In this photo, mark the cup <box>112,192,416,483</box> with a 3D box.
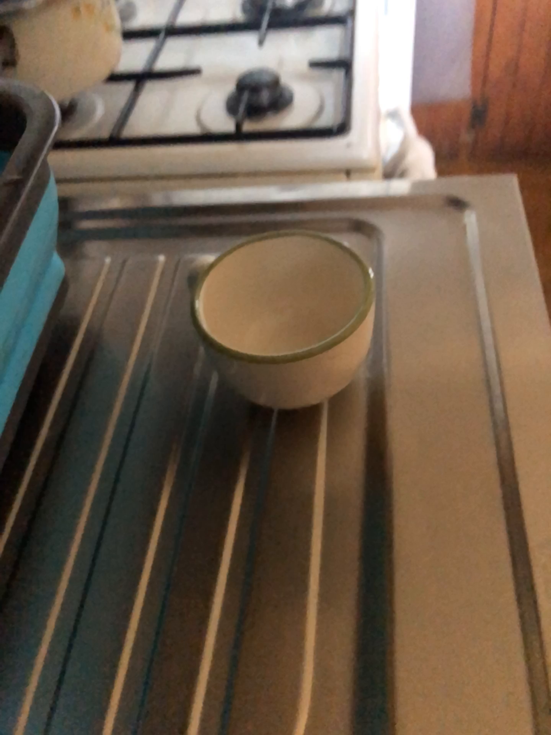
[{"bbox_3d":[-0.005,-0.020,0.305,0.090,0.060,0.110,-40,56,-22],"label":"cup"}]
